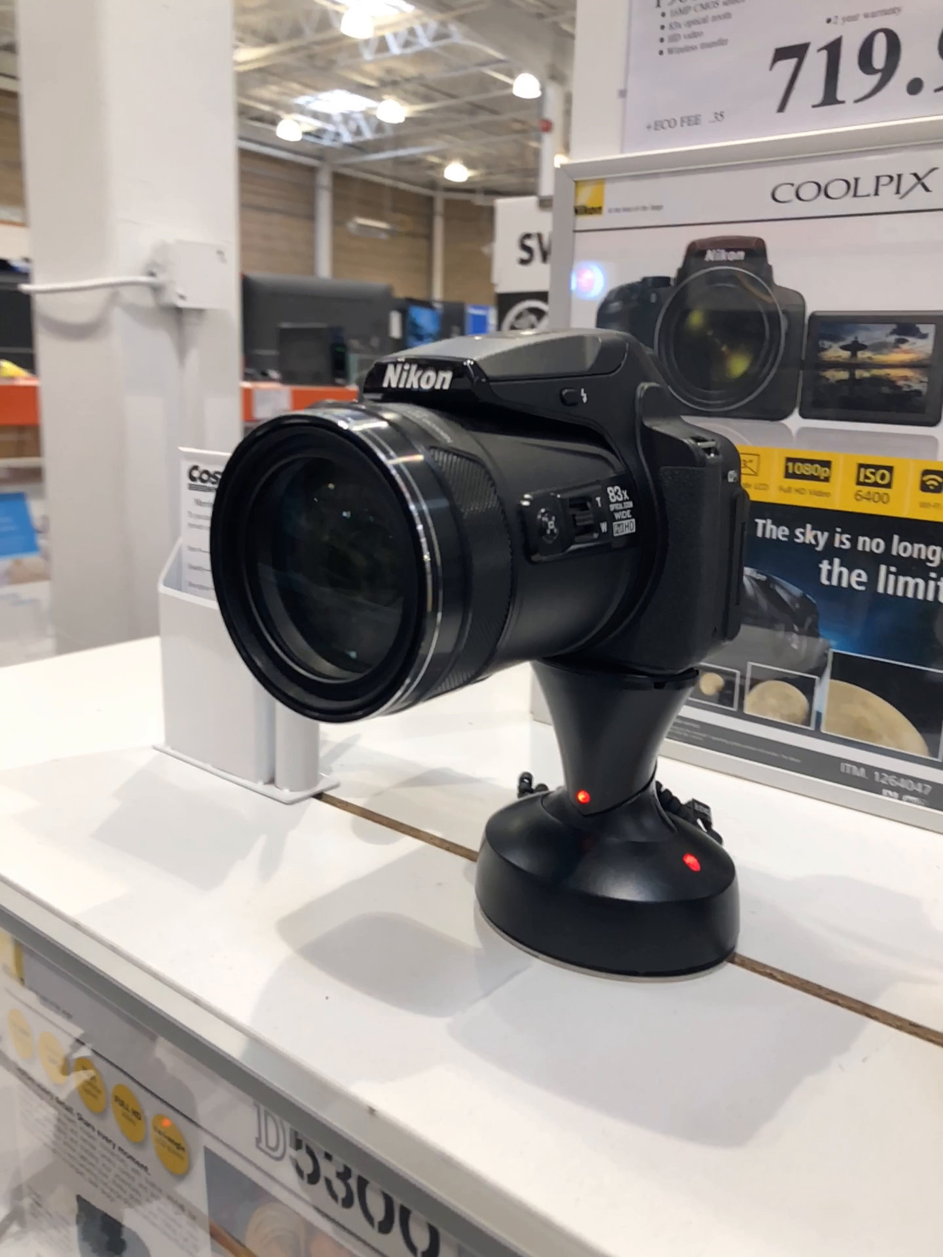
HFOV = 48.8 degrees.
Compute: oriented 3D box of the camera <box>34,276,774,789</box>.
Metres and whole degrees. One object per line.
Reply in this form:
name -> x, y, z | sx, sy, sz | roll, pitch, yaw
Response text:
camera -> -0.018, -0.041, 0.300 | 0.150, 0.100, 0.140 | 13, 17, 38
